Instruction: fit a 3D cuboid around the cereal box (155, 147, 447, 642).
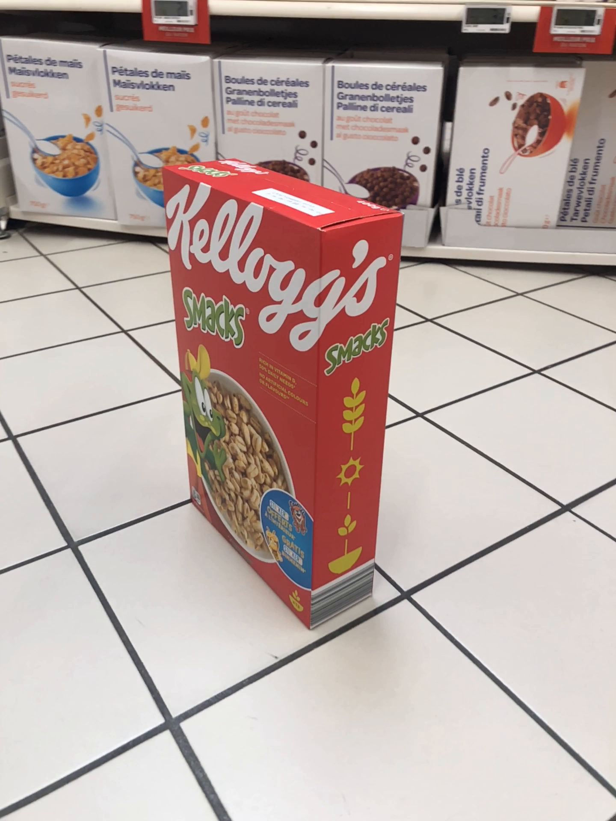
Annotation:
[{"bbox_3d":[-0.015,-0.017,0.498,0.080,0.298,0.200,-21,36,-31],"label":"cereal box"}]
